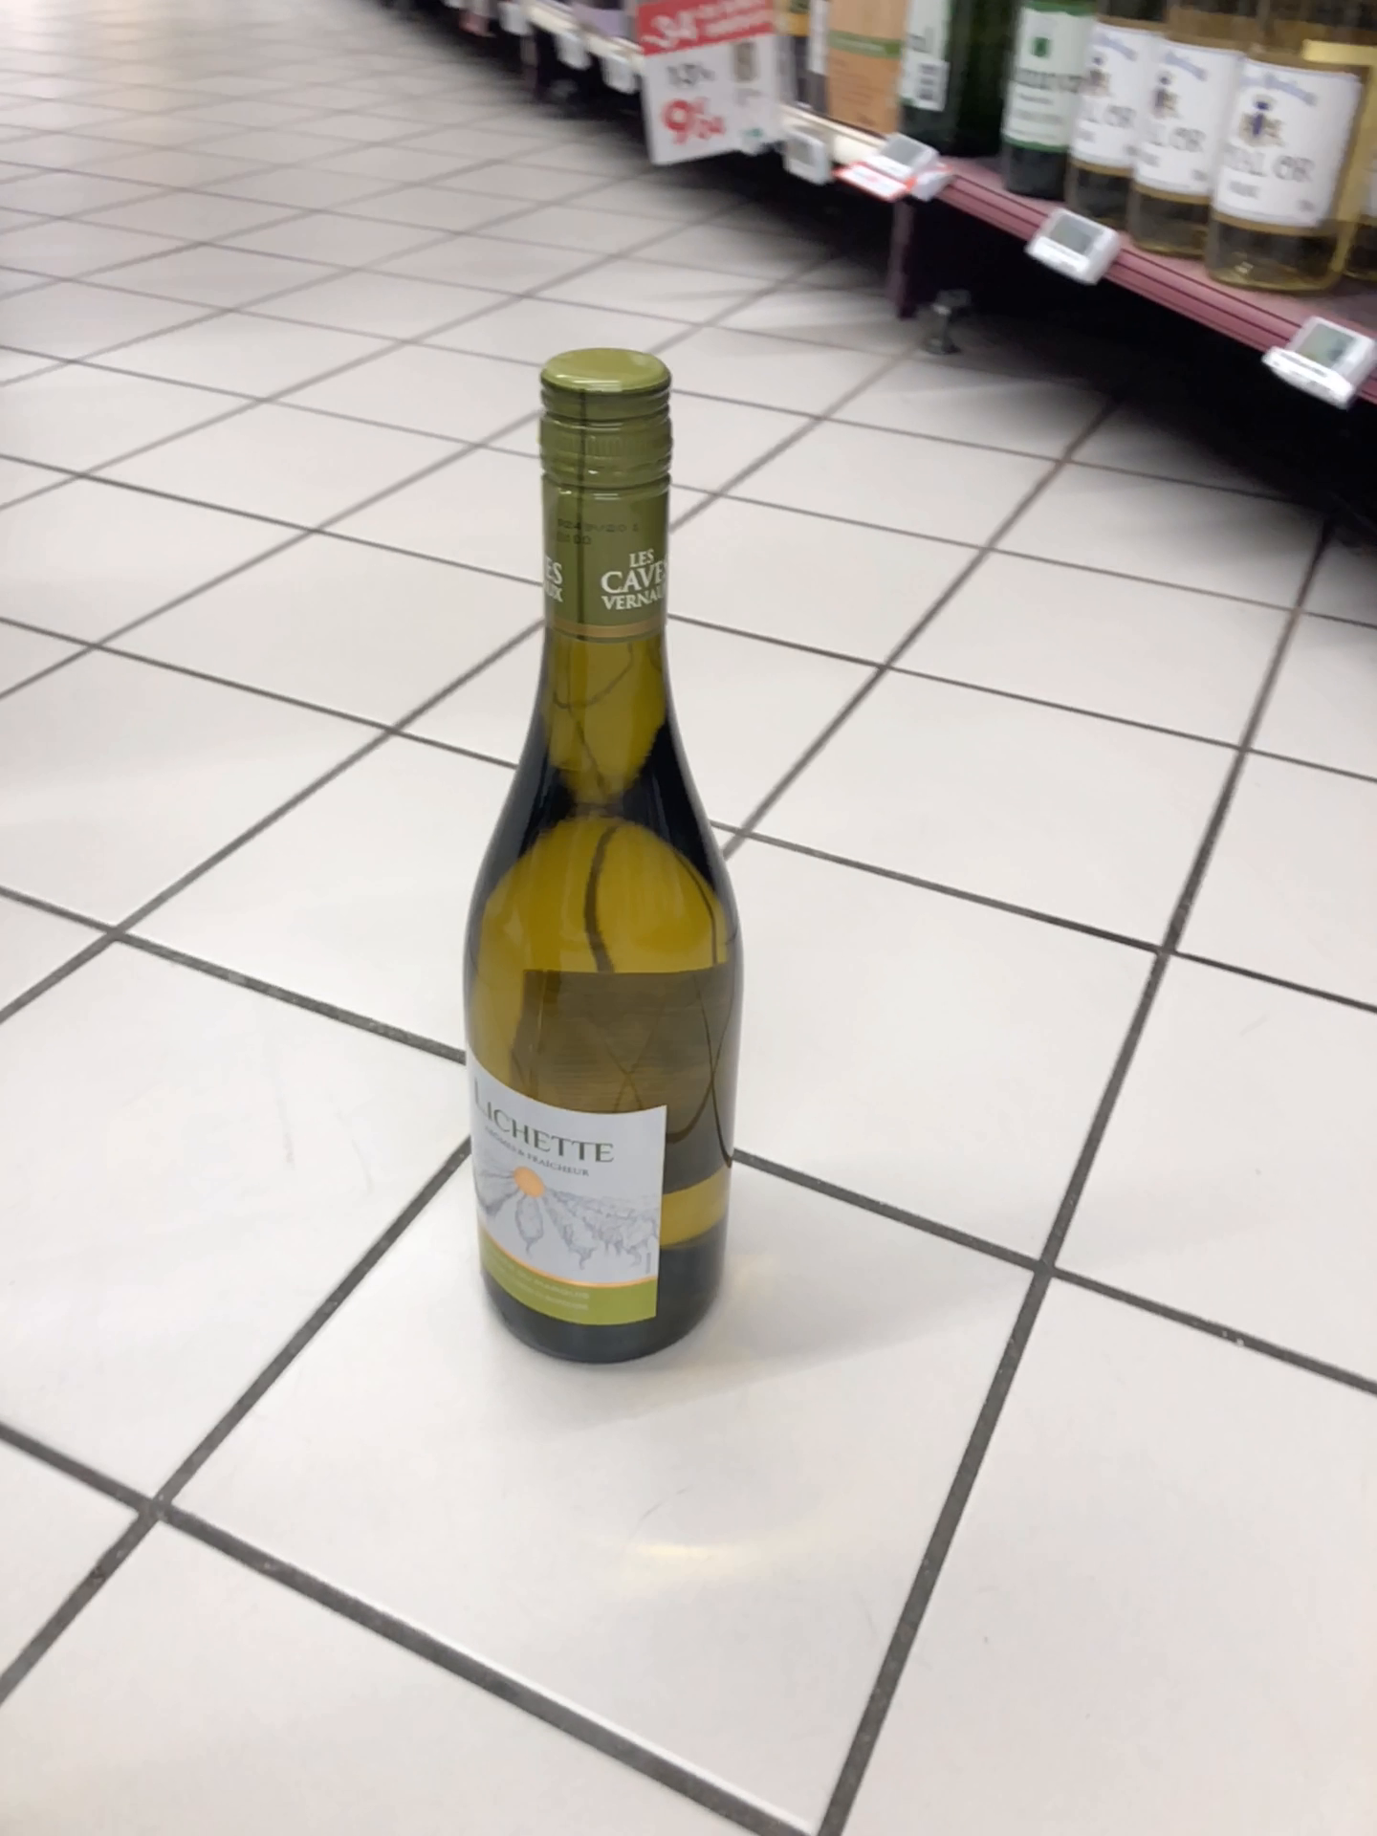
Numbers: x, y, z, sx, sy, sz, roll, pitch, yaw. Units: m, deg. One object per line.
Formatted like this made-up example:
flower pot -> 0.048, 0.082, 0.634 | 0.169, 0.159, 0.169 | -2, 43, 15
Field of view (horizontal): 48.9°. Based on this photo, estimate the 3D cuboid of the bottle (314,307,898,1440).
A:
bottle -> -0.019, -0.001, 0.404 | 0.090, 0.278, 0.091 | 1, 35, -1
